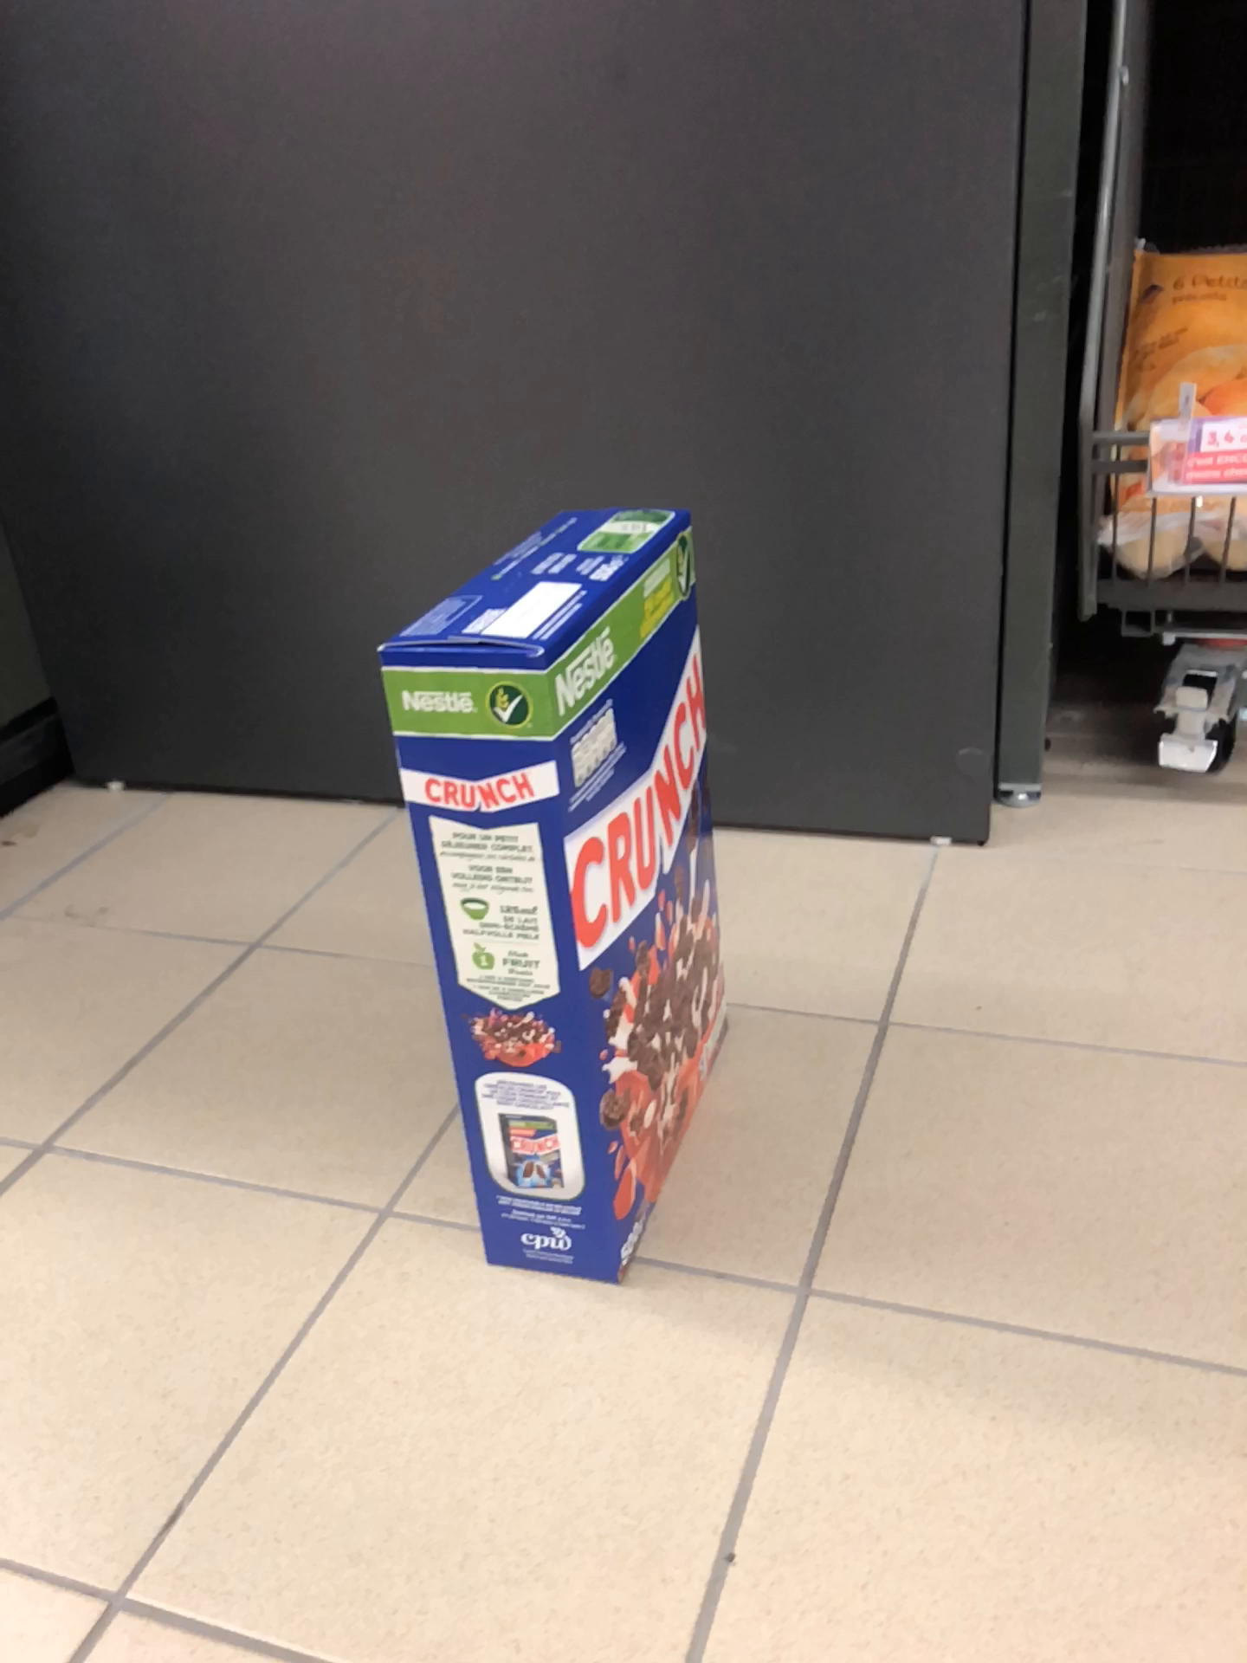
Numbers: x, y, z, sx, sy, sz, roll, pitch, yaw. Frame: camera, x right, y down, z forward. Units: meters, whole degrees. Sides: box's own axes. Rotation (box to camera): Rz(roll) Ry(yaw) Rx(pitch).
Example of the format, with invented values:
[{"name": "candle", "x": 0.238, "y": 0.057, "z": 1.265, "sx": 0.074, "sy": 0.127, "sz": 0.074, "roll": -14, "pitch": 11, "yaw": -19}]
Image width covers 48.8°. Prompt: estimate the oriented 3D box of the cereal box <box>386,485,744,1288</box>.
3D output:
[{"name": "cereal box", "x": -0.008, "y": 0.017, "z": 0.601, "sx": 0.070, "sy": 0.288, "sz": 0.191, "roll": 4, "pitch": 28, "yaw": 17}]
